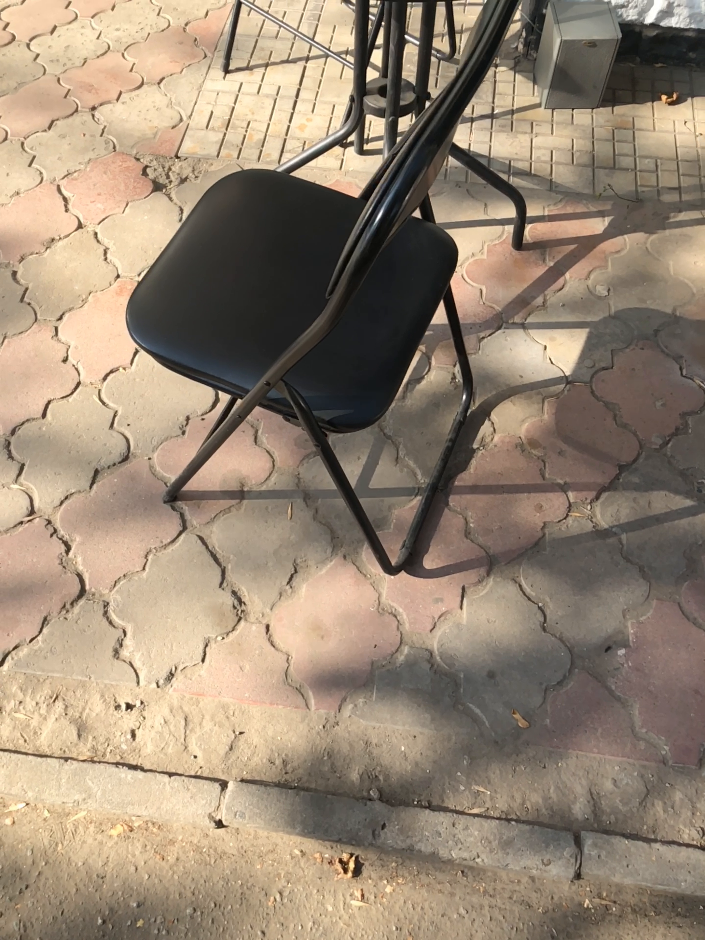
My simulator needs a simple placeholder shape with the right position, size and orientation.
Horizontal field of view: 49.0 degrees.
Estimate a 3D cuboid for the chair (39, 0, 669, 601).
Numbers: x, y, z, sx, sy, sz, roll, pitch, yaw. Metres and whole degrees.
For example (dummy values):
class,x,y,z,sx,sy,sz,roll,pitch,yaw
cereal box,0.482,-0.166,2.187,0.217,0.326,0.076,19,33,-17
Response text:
class,x,y,z,sx,sy,sz,roll,pitch,yaw
chair,0.026,-0.322,1.258,0.570,0.838,0.581,20,55,11
